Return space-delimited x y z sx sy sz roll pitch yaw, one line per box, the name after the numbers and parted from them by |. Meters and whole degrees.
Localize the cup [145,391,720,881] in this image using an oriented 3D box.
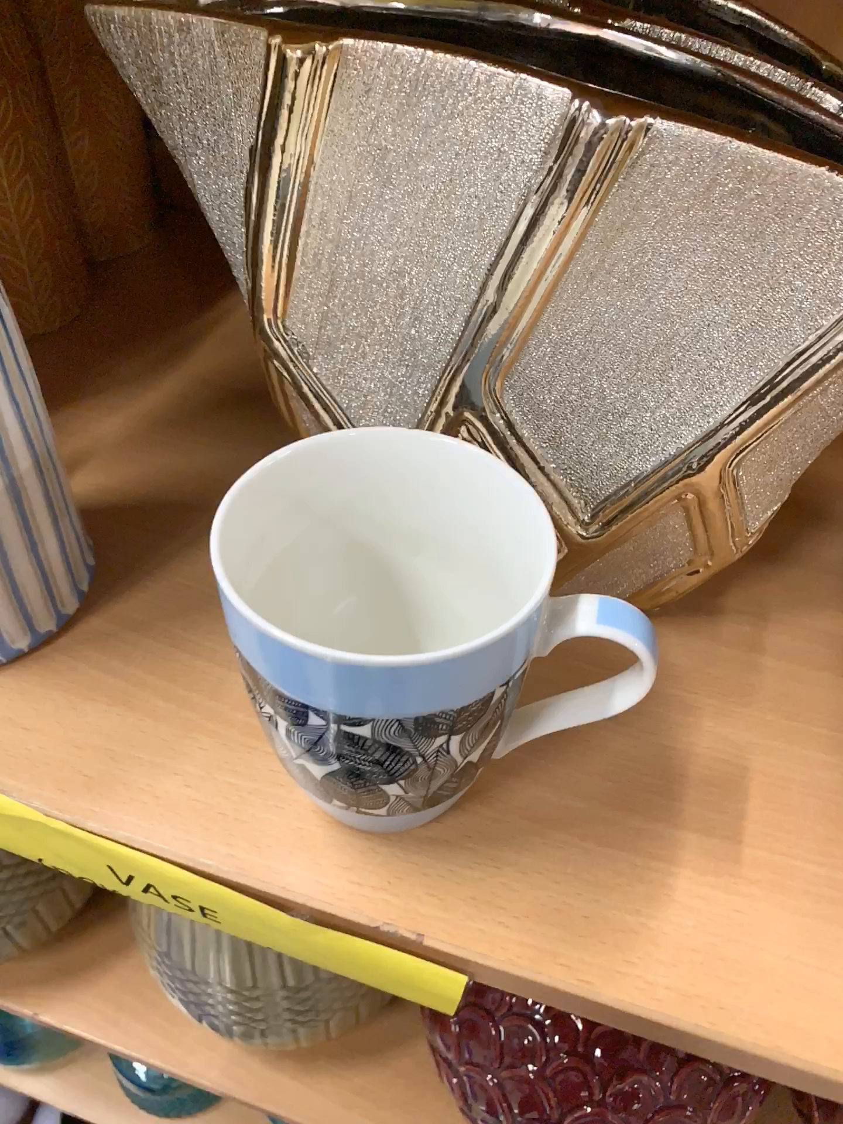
0.002 0.019 0.227 0.110 0.090 0.080 4 43 1 | cup
